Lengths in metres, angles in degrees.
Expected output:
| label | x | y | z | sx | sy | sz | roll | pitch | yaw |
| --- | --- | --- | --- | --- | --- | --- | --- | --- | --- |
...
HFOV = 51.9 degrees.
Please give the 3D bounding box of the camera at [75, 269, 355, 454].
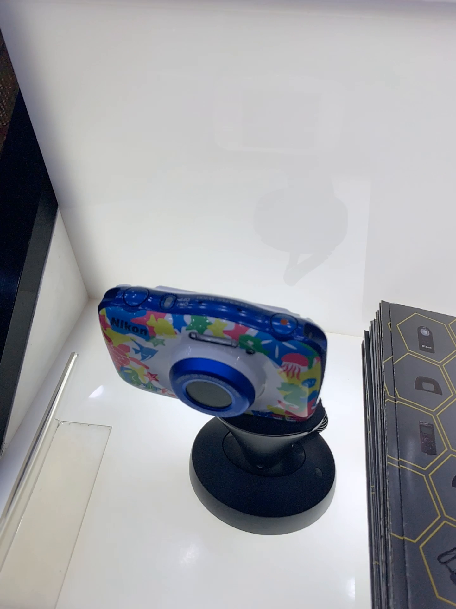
| label | x | y | z | sx | sy | sz | roll | pitch | yaw |
| --- | --- | --- | --- | --- | --- | --- | --- | --- | --- |
| camera | -0.005 | 0.028 | 0.234 | 0.120 | 0.060 | 0.040 | 11 | 48 | 11 |
